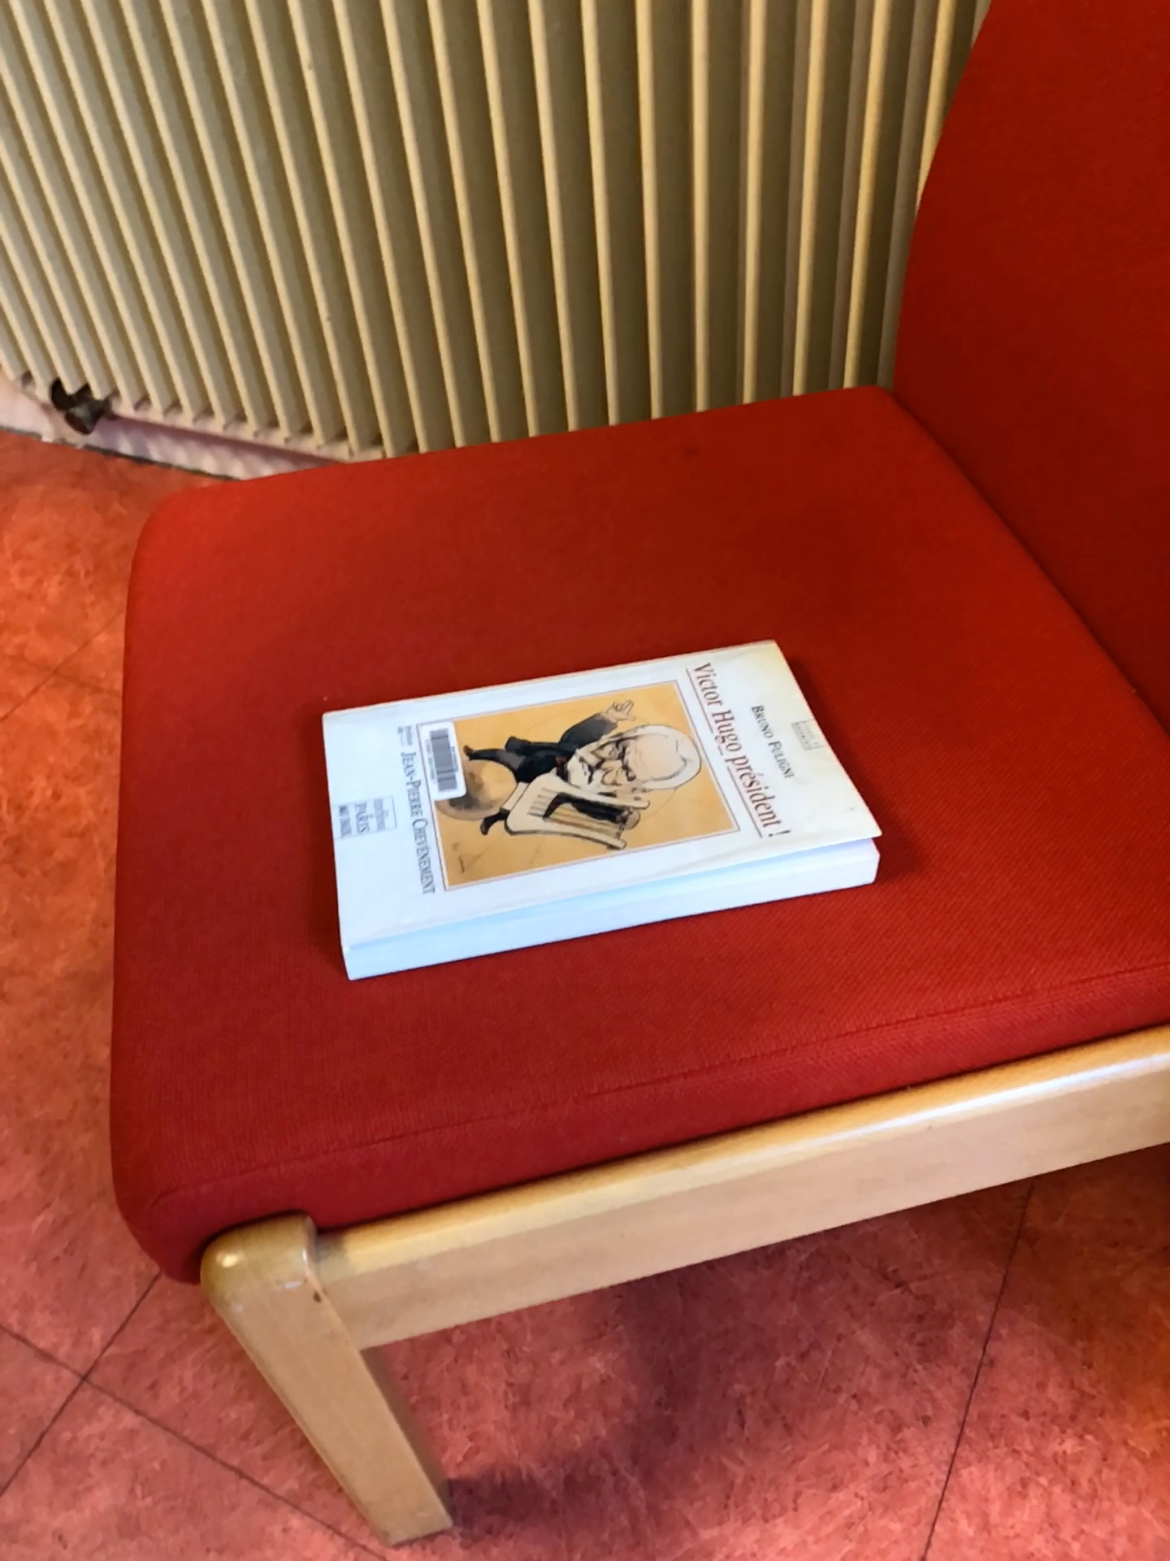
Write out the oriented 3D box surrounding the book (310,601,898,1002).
[{"bbox_3d":[0.001,0.002,0.590,0.236,0.040,0.152,-12,47,-5],"label":"book"}]
